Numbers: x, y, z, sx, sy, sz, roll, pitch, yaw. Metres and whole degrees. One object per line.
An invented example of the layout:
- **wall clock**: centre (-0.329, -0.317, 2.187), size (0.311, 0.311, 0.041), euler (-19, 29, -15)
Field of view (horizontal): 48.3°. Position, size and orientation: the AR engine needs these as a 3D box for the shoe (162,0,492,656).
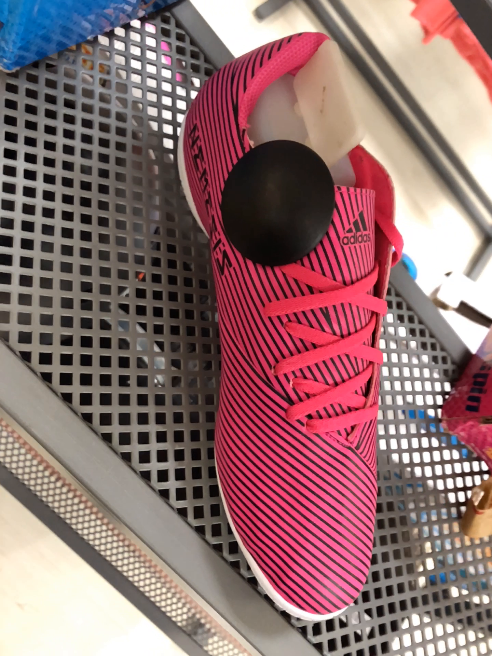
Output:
- **shoe**: centre (0.035, 0.002, 0.254), size (0.096, 0.100, 0.260), euler (-1, 78, -29)
